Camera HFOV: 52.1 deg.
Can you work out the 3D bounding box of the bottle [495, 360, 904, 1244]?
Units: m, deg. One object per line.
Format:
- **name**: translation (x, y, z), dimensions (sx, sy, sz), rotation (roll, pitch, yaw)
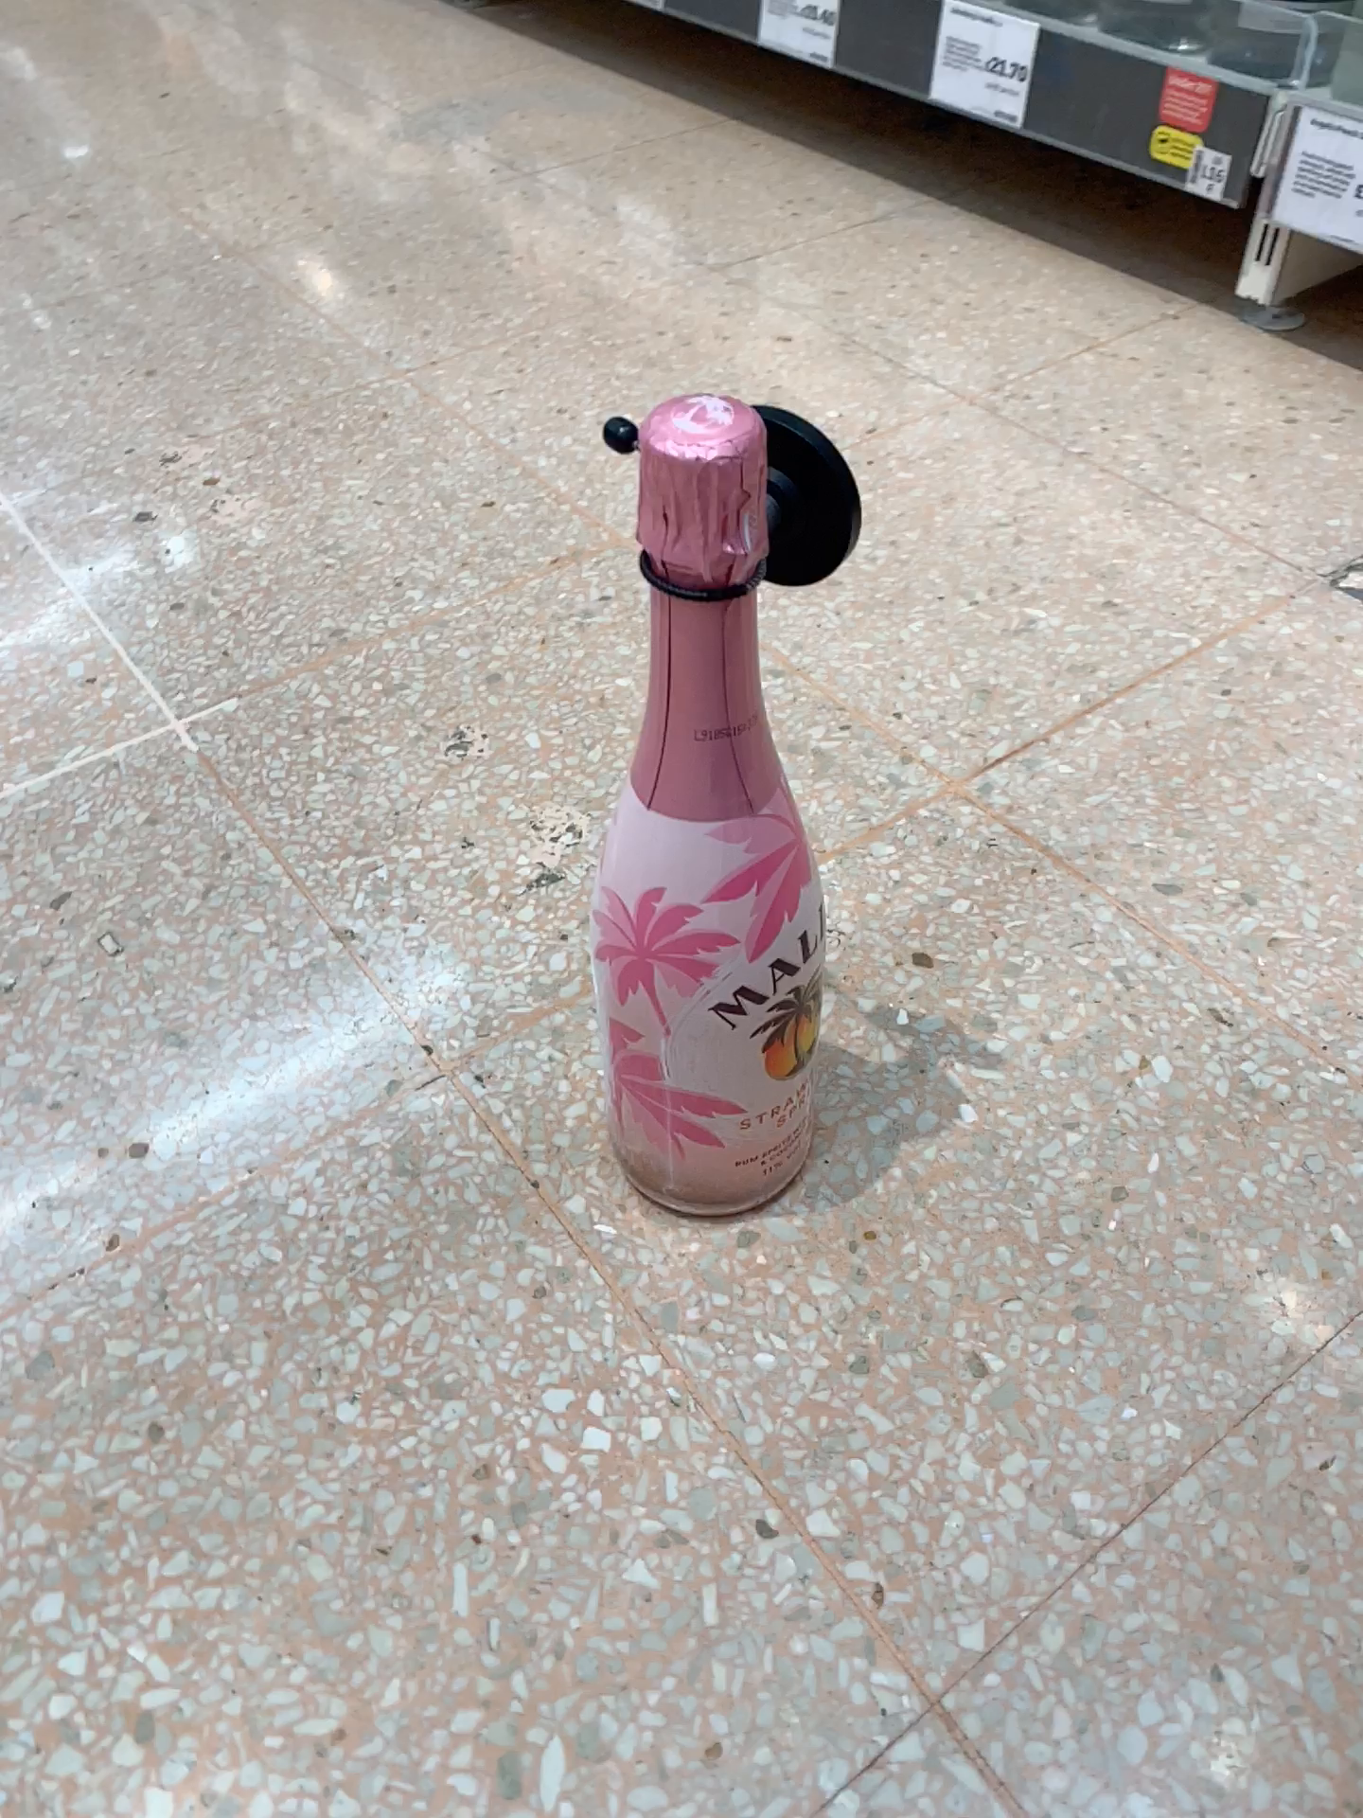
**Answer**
- **bottle**: translation (0.011, -0.013, 0.447), dimensions (0.080, 0.286, 0.081), rotation (-1, 45, 1)
